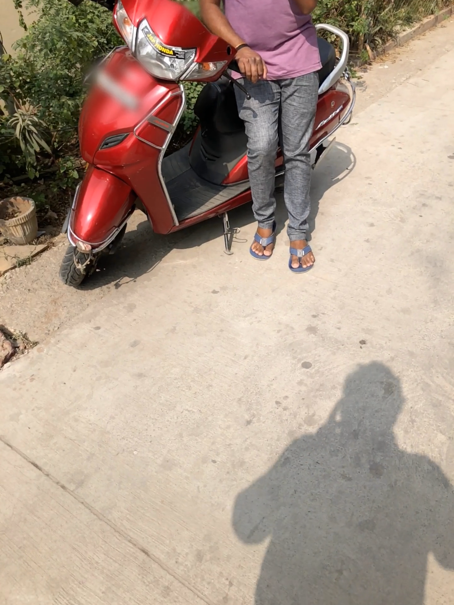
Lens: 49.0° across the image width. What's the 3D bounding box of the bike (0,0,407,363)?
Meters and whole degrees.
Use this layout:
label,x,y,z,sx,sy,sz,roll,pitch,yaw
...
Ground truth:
label,x,y,z,sx,sy,sz,roll,pitch,yaw
bike,-0.033,-0.723,2.146,1.590,1.157,0.622,-34,47,-31
